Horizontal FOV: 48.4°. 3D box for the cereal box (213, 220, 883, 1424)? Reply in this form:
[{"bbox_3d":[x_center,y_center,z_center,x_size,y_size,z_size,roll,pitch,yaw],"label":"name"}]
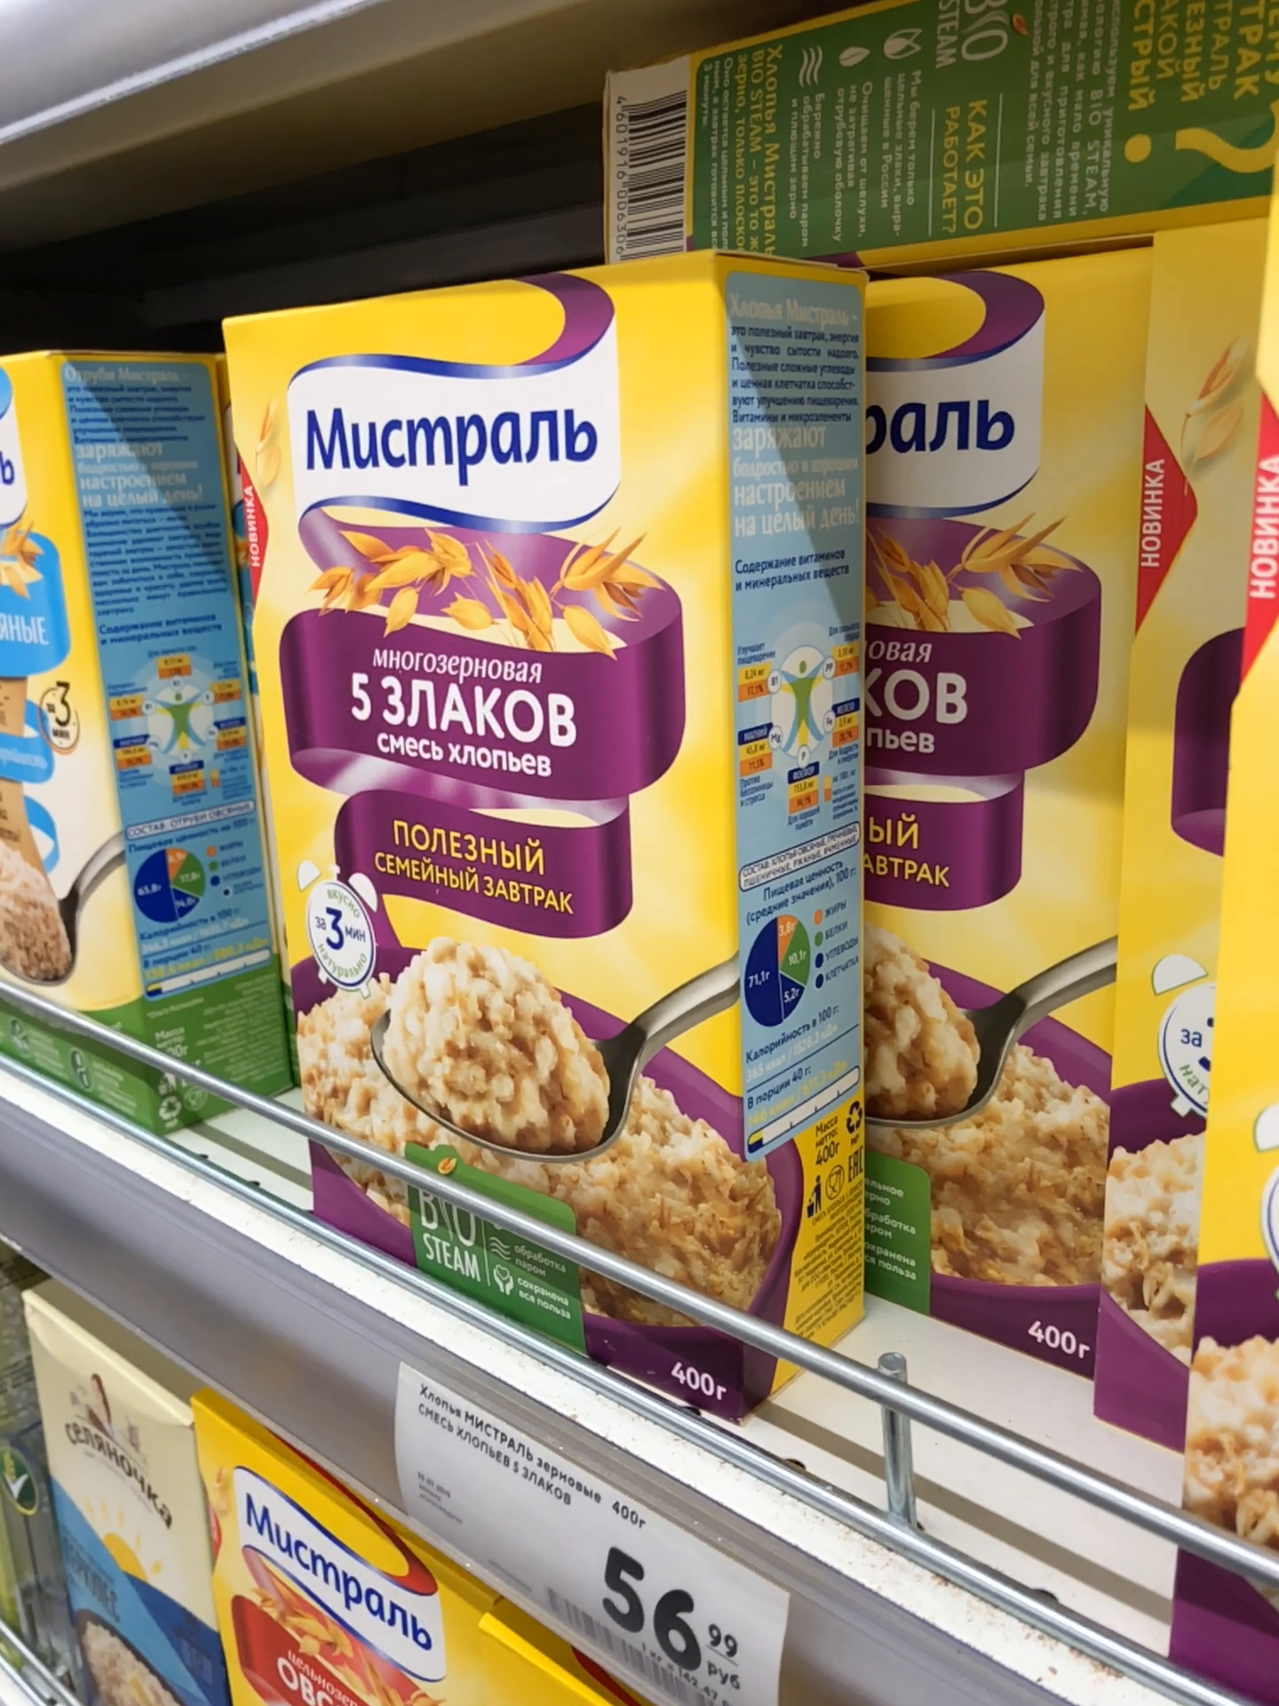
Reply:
[{"bbox_3d":[-0.019,-0.009,0.300,0.130,0.209,0.050,10,19,40],"label":"cereal box"}]
